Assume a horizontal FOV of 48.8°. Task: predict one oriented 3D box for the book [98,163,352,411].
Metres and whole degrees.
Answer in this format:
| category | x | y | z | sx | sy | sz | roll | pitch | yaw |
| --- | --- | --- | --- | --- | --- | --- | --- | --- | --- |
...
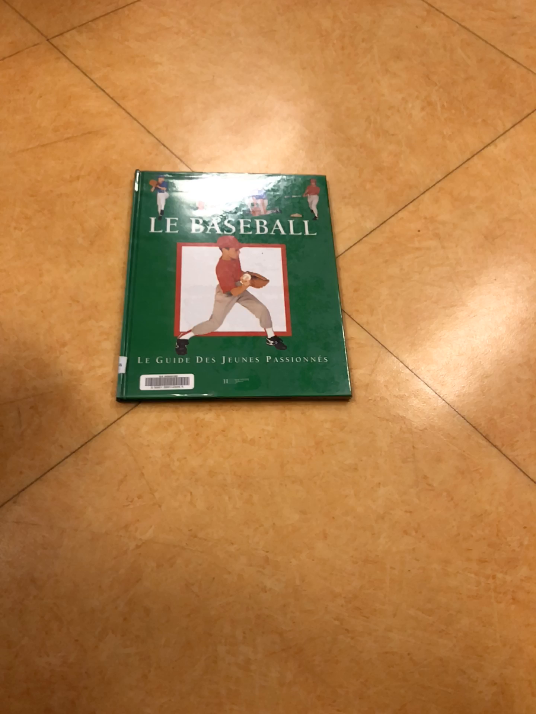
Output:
| category | x | y | z | sx | sy | sz | roll | pitch | yaw |
| --- | --- | --- | --- | --- | --- | --- | --- | --- | --- |
| book | -0.042 | -0.080 | 0.588 | 0.219 | 0.020 | 0.281 | 0 | 61 | -6 |
